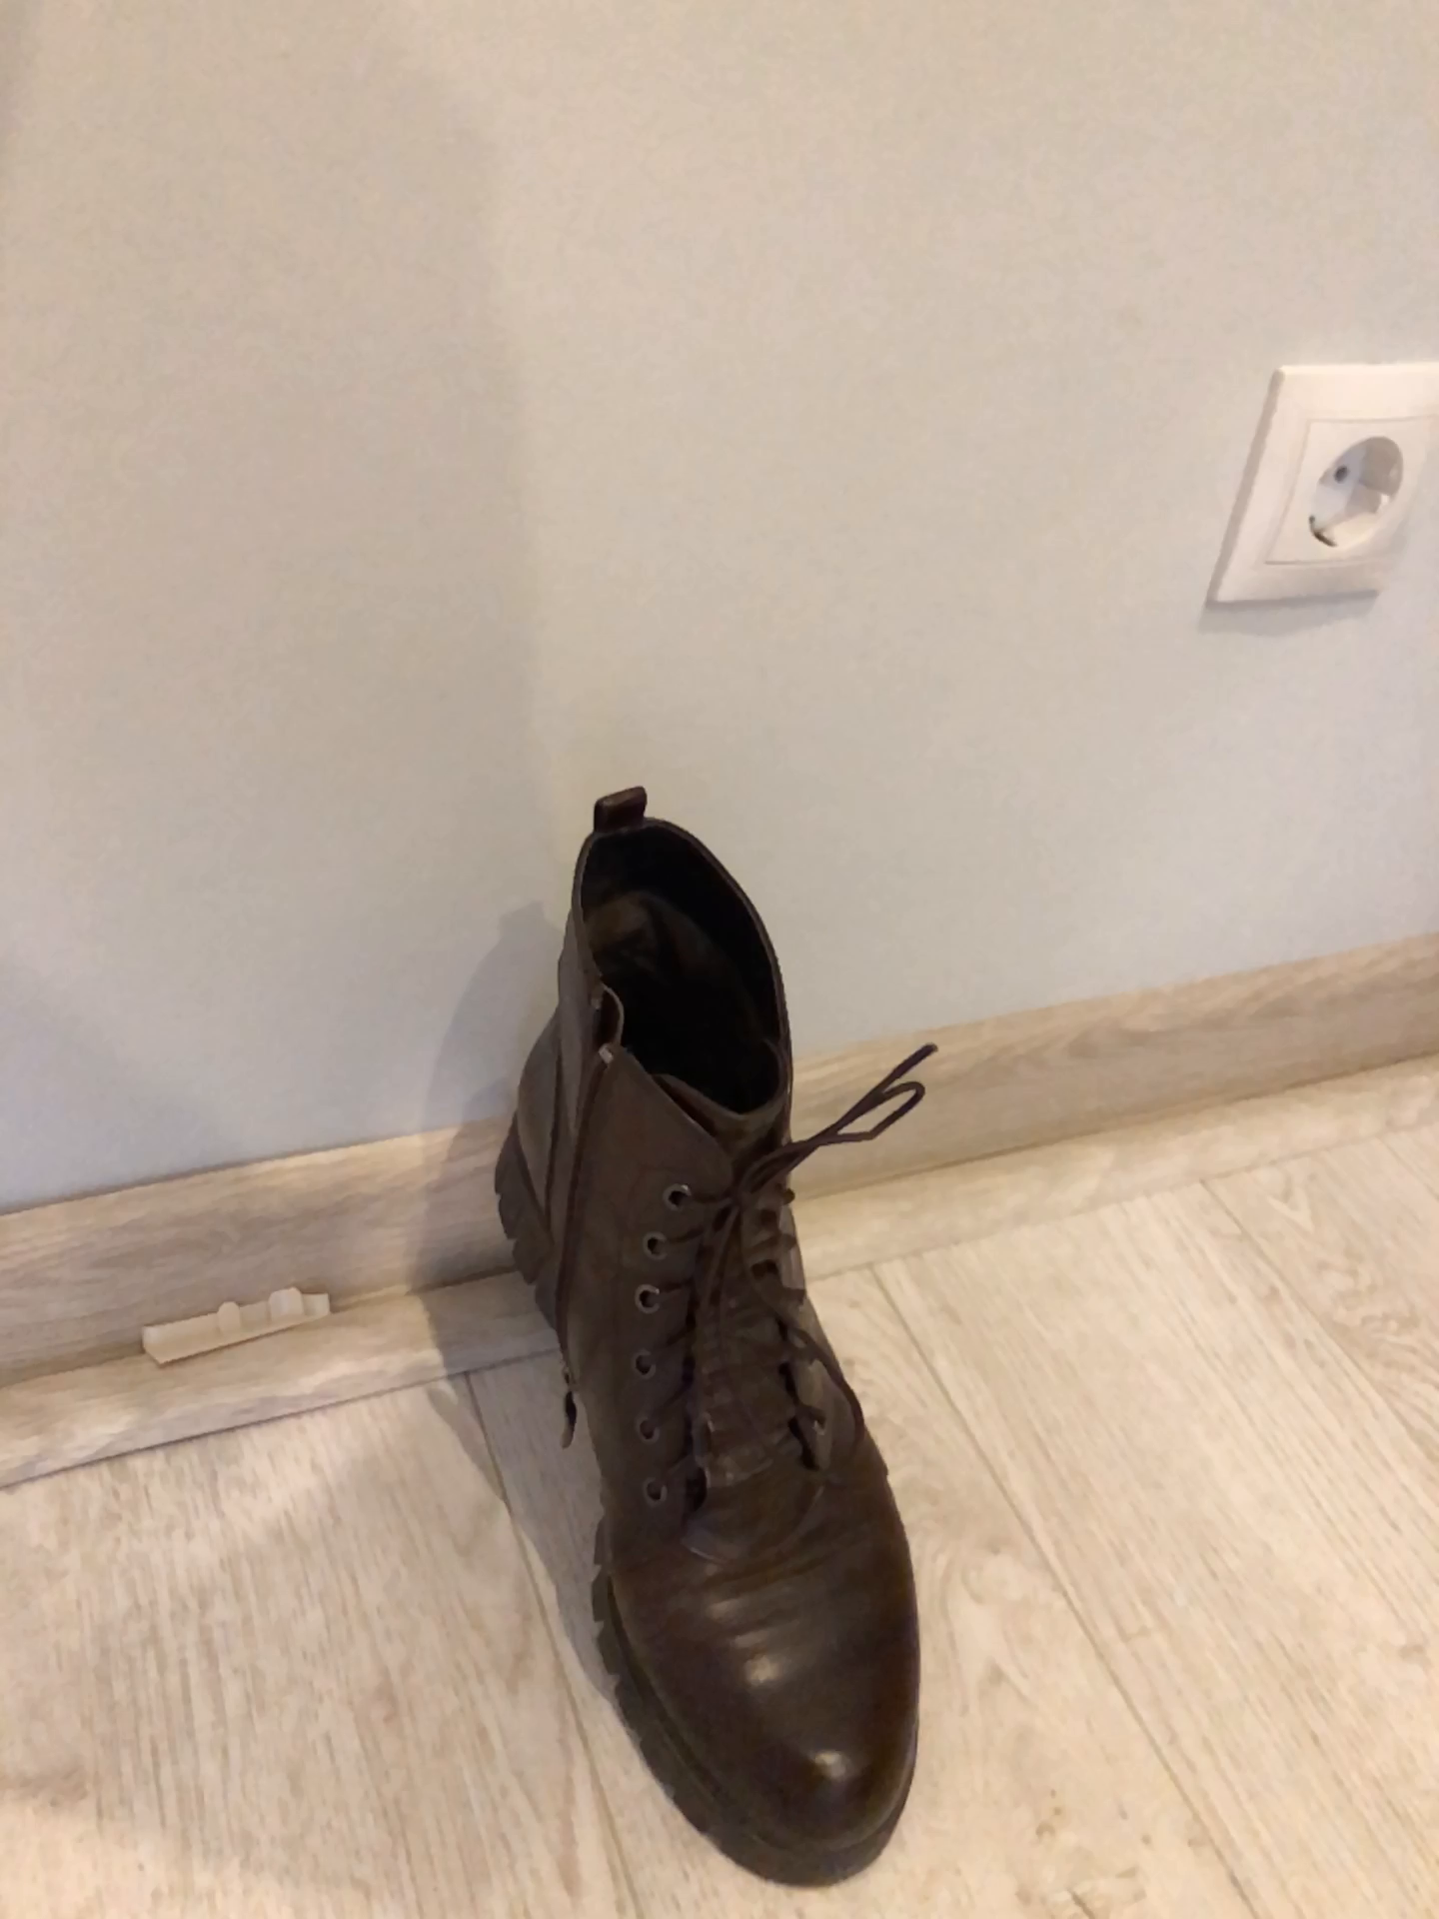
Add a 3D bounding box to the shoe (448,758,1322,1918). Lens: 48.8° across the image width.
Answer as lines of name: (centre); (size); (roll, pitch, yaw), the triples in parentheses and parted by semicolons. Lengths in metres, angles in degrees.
shoe: (0.014, 0.107, 0.444); (0.100, 0.179, 0.261); (-11, 58, -21)
